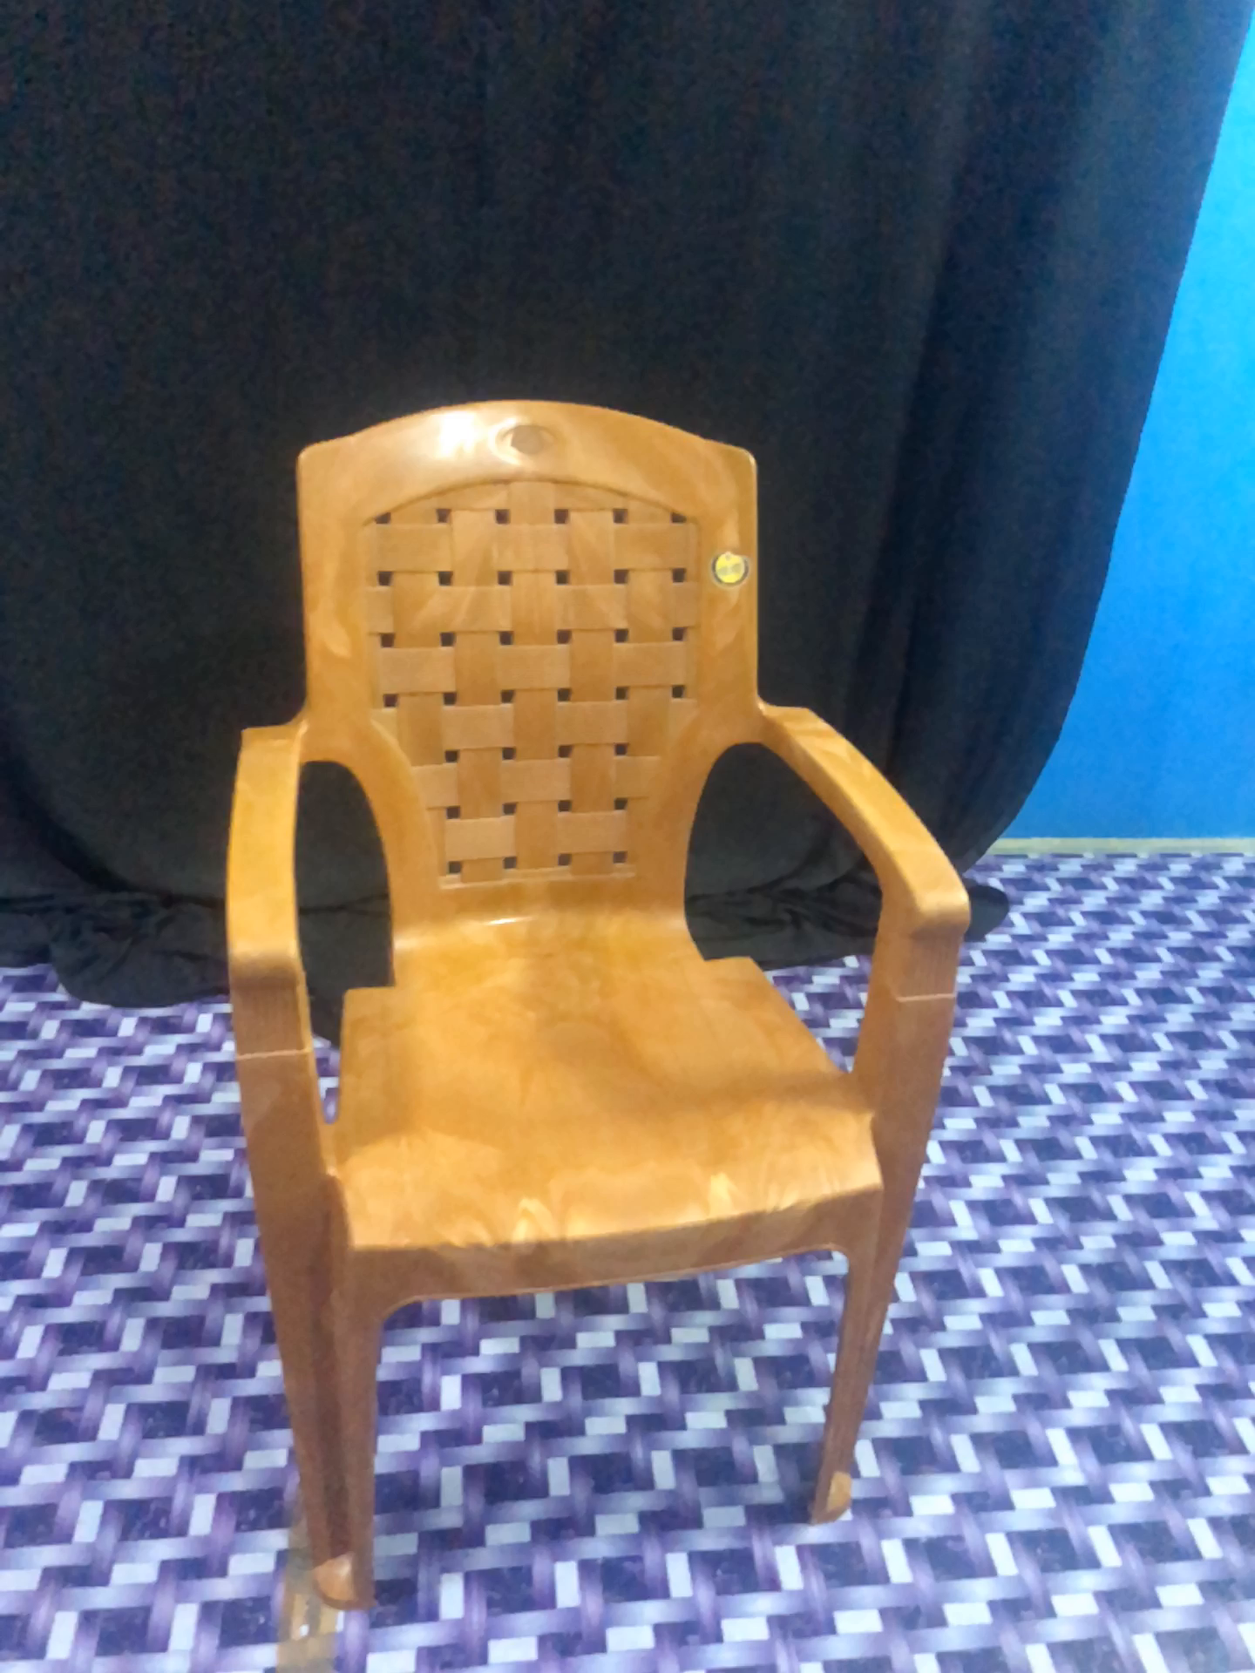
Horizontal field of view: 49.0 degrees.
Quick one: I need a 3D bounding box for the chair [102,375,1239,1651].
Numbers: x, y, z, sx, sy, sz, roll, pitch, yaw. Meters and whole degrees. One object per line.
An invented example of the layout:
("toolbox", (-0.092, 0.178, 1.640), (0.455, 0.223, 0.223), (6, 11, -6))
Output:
("chair", (-0.042, 0.091, 1.179), (0.601, 0.786, 0.663), (-2, 30, -11))
